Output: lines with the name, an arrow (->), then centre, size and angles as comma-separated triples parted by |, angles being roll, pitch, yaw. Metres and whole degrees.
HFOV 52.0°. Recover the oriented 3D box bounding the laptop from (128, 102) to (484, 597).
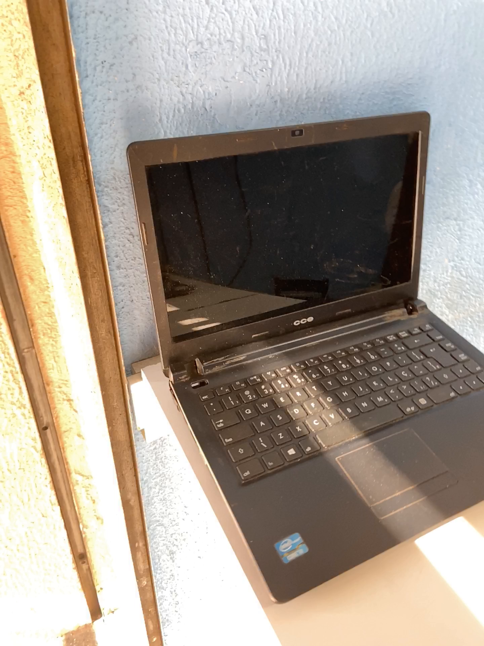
laptop -> 0.115, -0.031, 0.452 | 0.334, 0.210, 0.313 | -14, 40, -21
